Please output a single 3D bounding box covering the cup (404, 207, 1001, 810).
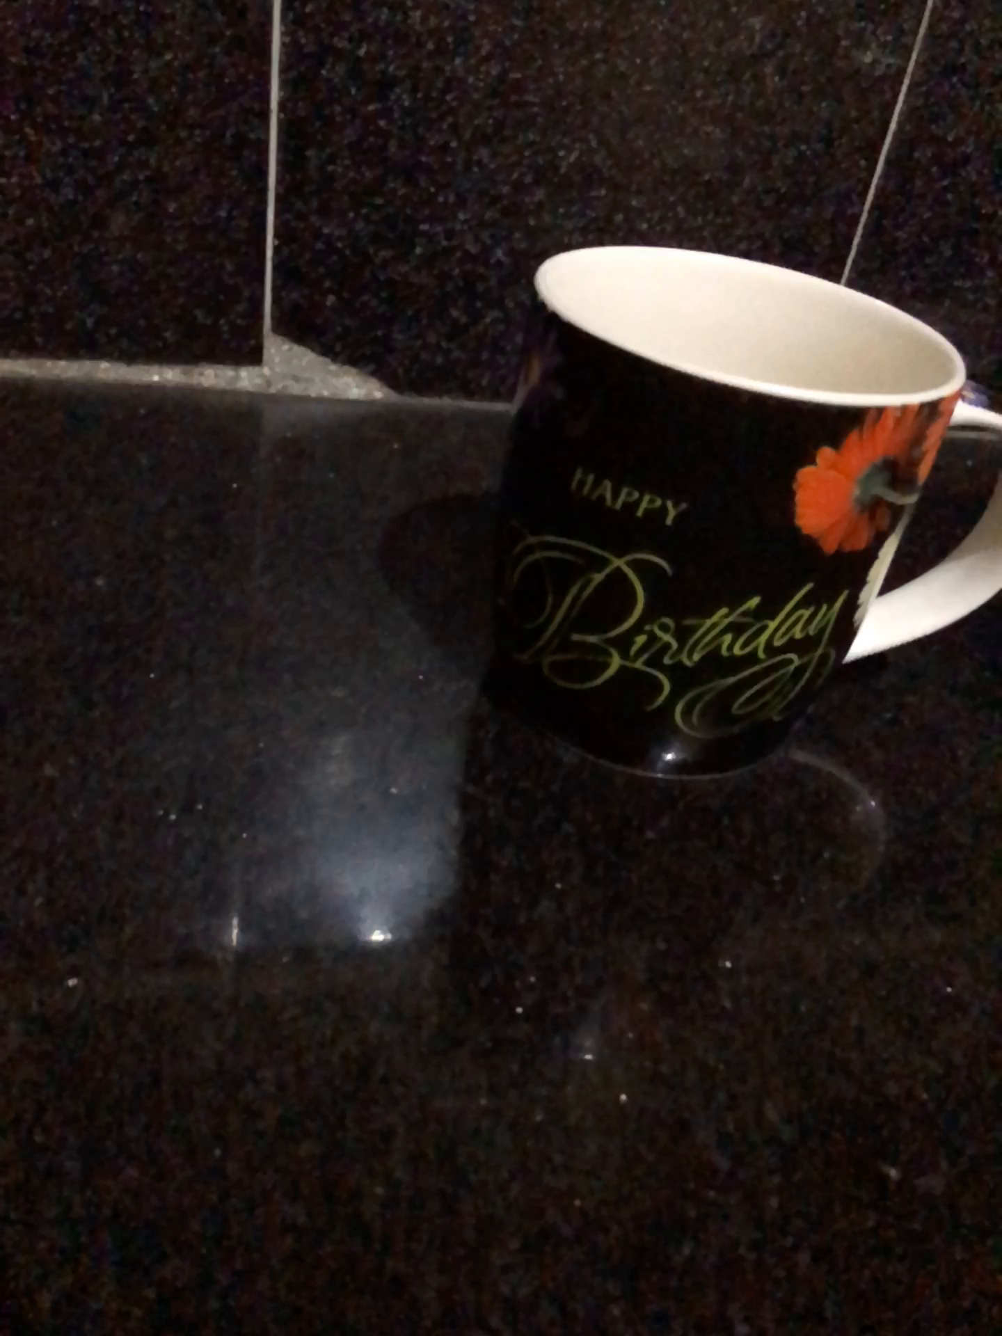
[{"bbox_3d":[0.052,-0.034,0.244,0.130,0.089,0.091,3,35,-13],"label":"cup"}]
